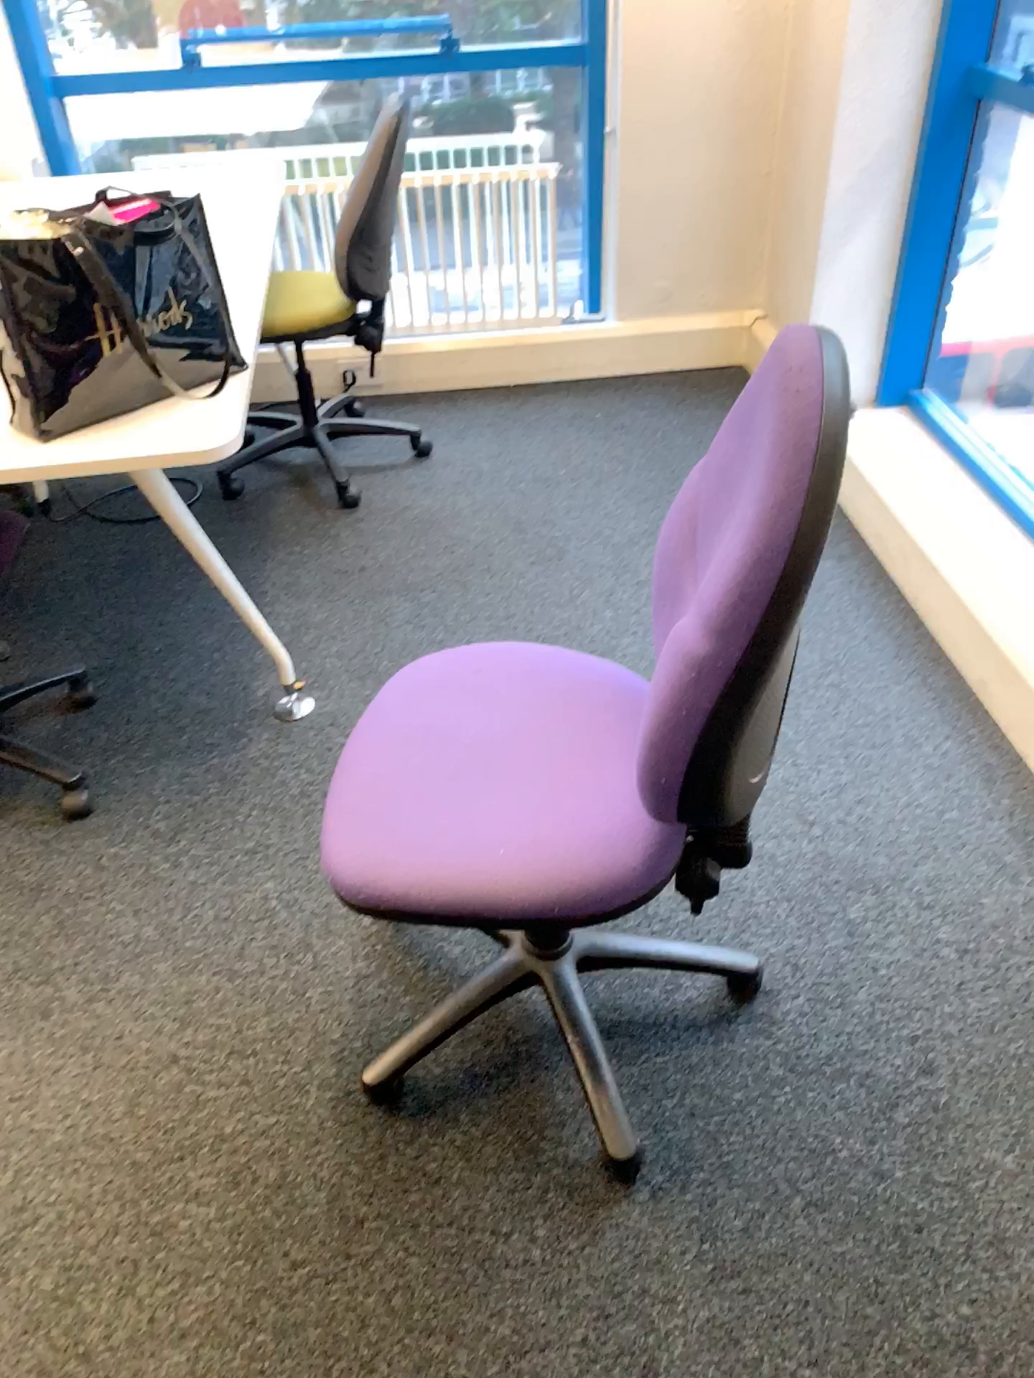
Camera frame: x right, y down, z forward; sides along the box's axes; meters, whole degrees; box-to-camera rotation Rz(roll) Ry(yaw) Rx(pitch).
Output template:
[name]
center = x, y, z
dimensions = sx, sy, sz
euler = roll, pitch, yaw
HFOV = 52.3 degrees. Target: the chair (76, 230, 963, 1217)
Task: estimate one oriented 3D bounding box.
[chair]
center = 0.047, 0.044, 1.309
dimensions = 0.634, 0.983, 0.675
euler = 2, 38, 7
